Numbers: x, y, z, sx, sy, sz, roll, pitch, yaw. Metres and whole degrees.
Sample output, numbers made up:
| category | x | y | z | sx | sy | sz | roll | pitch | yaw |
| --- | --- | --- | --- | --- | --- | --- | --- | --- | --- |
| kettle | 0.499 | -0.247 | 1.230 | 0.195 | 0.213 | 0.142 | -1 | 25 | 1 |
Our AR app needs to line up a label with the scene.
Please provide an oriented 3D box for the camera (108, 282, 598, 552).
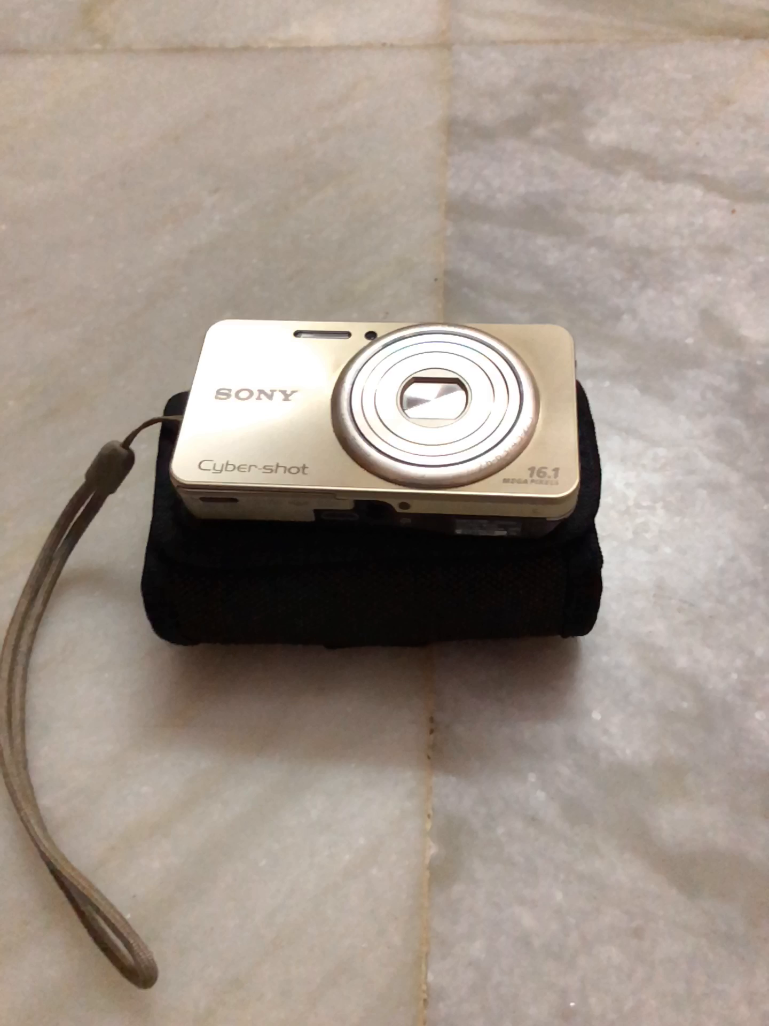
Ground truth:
| category | x | y | z | sx | sy | sz | roll | pitch | yaw |
| --- | --- | --- | --- | --- | --- | --- | --- | --- | --- |
| camera | -0.005 | -0.024 | 0.200 | 0.100 | 0.020 | 0.060 | 3 | 56 | 4 |
